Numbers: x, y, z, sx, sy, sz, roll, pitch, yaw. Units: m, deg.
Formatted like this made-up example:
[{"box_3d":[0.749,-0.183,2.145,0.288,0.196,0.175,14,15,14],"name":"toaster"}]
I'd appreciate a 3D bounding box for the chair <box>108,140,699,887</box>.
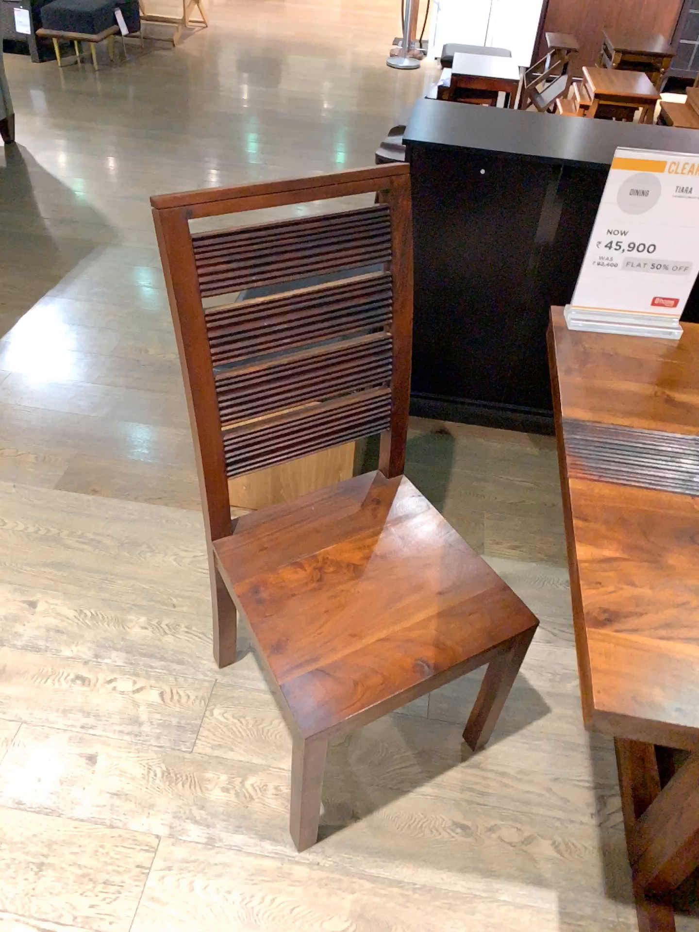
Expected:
[{"box_3d":[0.026,0.104,1.152,0.521,0.996,0.531,-19,46,-24],"name":"chair"}]
